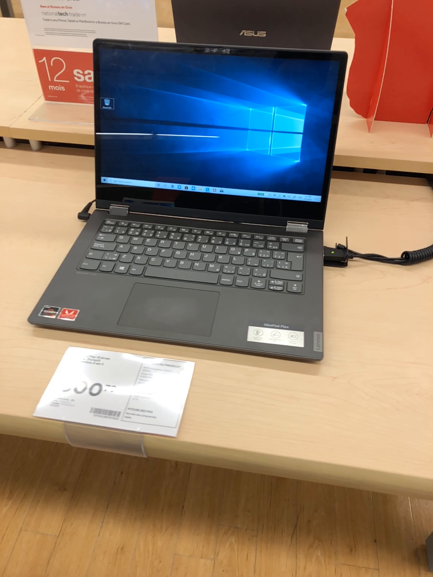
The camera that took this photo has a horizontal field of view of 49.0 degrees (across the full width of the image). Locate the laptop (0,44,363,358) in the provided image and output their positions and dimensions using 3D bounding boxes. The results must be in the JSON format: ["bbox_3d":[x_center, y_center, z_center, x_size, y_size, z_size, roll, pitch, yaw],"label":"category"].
[{"bbox_3d":[-0.023,-0.122,0.553,0.319,0.198,0.307,7,44,7],"label":"laptop"}]
